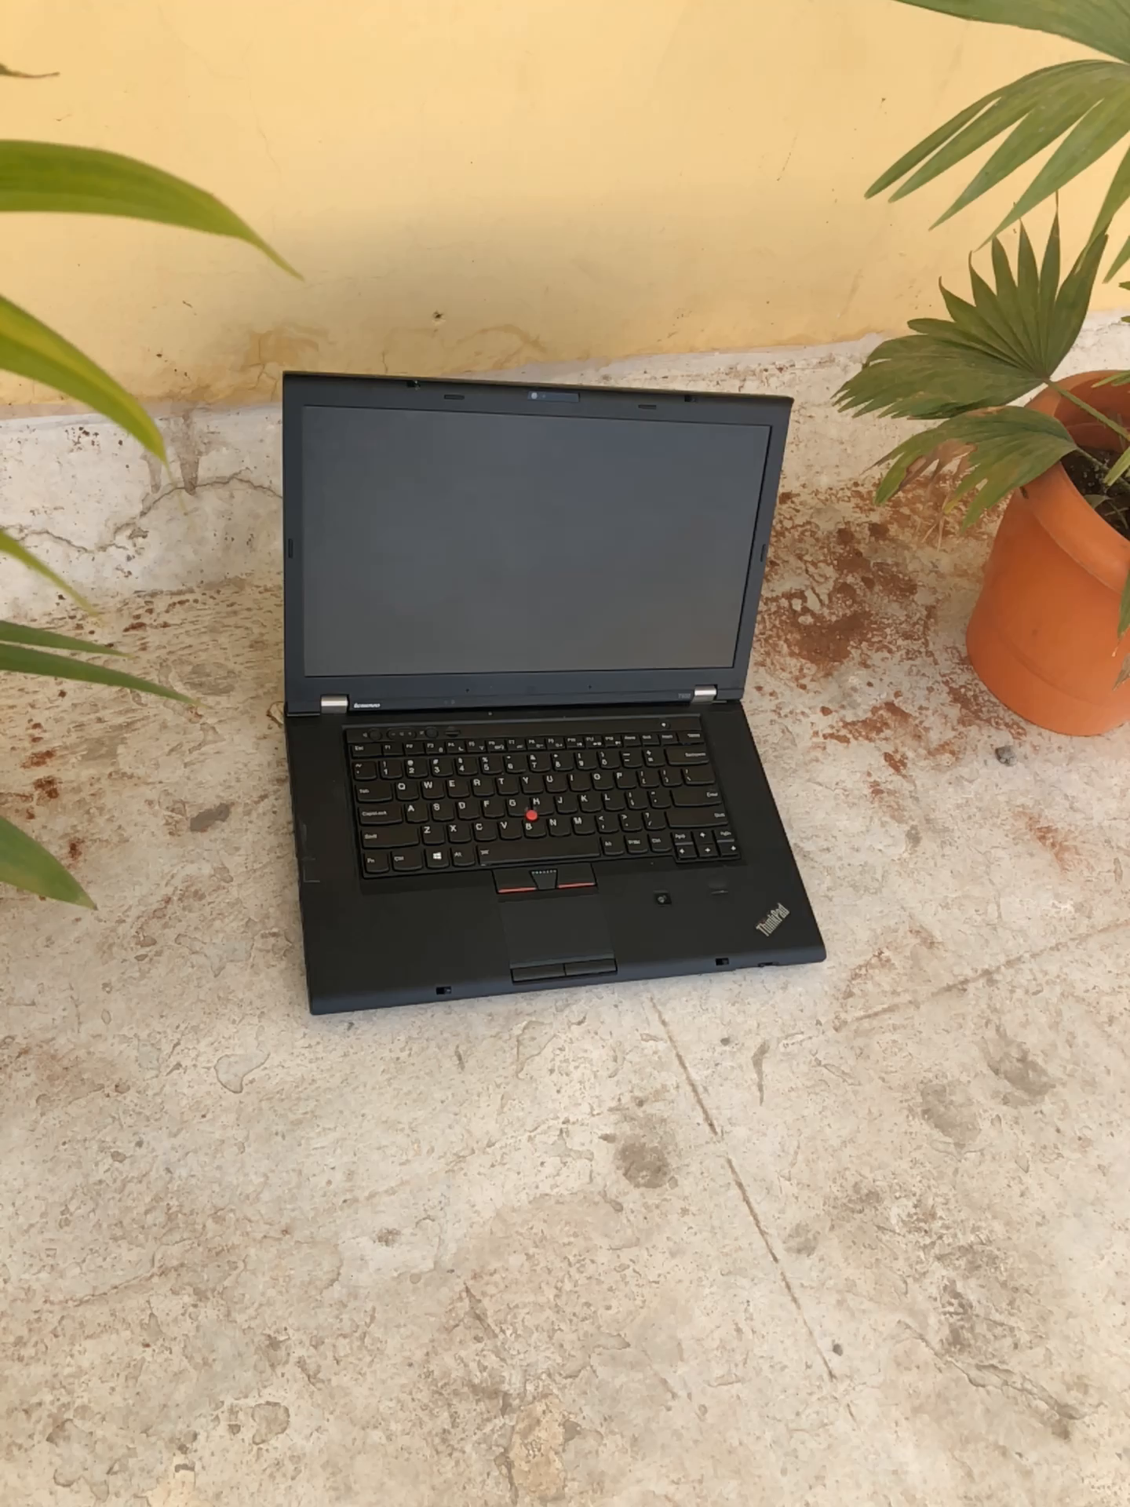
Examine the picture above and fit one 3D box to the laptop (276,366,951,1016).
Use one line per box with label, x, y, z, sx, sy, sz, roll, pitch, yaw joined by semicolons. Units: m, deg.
laptop;0.001;-0.051;0.847;0.360;0.208;0.353;-2;57;-17
